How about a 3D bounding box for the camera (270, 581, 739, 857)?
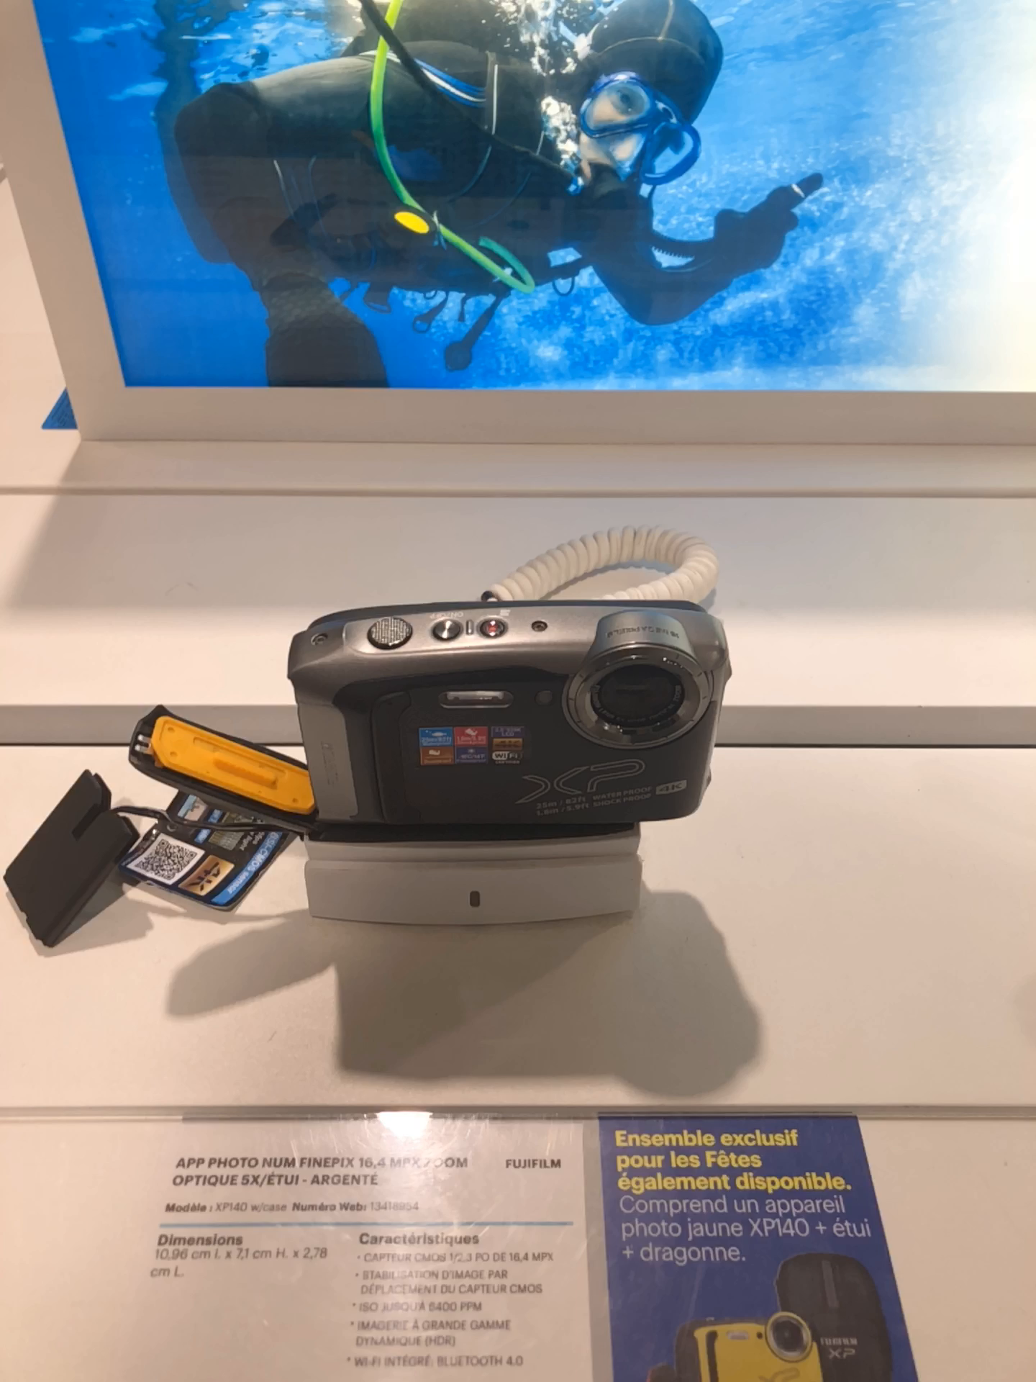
[{"bbox_3d":[-0.003,0.009,0.290,0.106,0.069,0.023,-2,41,-2],"label":"camera"}]
